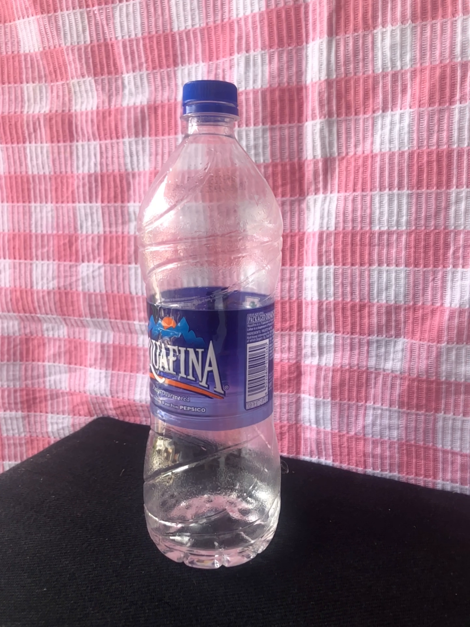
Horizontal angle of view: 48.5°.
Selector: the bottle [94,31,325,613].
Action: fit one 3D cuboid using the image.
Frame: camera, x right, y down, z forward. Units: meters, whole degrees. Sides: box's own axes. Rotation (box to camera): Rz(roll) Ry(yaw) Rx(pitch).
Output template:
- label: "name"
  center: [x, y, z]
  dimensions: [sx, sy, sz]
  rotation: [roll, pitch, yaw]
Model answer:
- label: "bottle"
  center: [-0.016, 0.006, 0.281]
  dimensions: [0.070, 0.259, 0.090]
  rotation: [-11, 18, -40]
